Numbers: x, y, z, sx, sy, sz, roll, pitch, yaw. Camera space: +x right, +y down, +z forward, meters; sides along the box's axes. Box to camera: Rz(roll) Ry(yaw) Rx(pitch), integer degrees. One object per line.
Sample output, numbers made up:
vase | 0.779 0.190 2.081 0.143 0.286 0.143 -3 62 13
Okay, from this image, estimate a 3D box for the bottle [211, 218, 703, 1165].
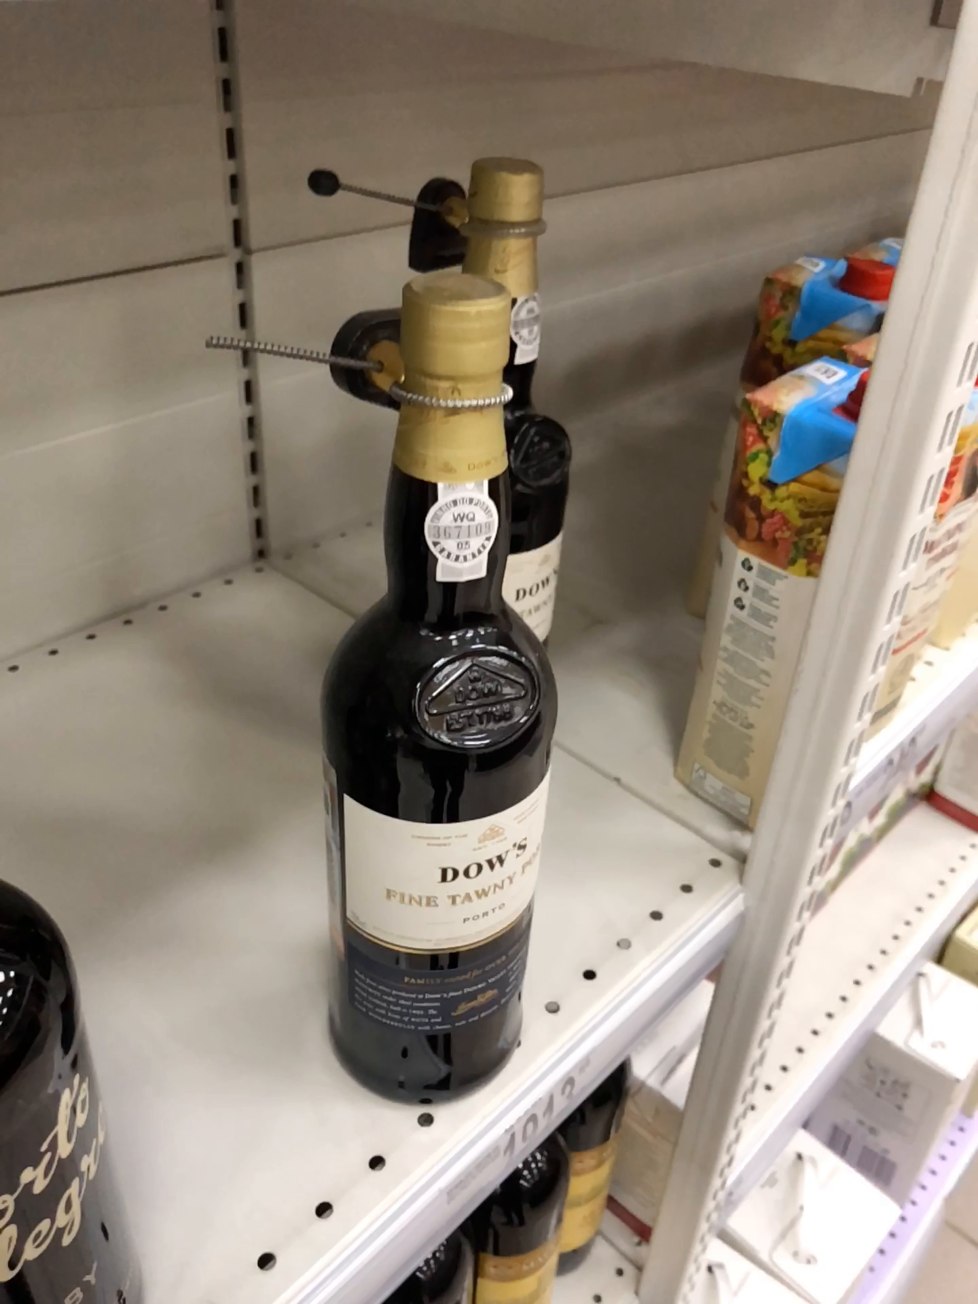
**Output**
bottle | -0.016 0.026 0.361 0.090 0.296 0.090 2 33 -2
